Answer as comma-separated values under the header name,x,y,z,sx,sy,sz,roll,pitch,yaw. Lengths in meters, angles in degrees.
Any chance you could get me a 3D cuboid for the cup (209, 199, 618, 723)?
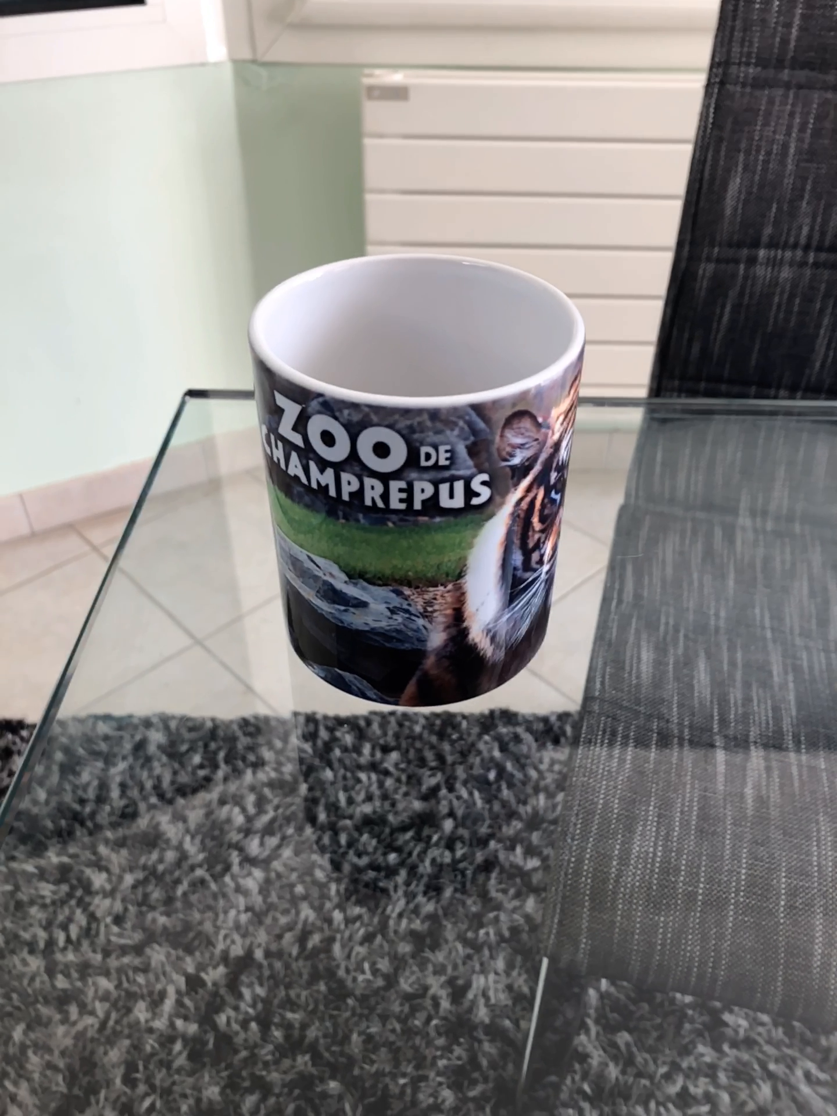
name,x,y,z,sx,sy,sz,roll,pitch,yaw
cup,-0.005,-0.033,0.256,0.080,0.089,0.121,-2,39,-3
